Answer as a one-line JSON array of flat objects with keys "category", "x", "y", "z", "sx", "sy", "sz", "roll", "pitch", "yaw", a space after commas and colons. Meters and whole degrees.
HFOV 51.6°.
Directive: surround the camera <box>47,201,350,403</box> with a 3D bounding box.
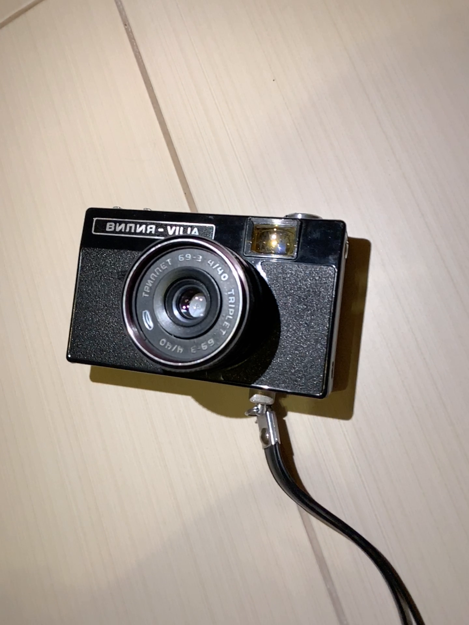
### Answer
[{"category": "camera", "x": -0.016, "y": -0.007, "z": 0.221, "sx": 0.124, "sy": 0.041, "sz": 0.073, "roll": 6, "pitch": 89, "yaw": 18}]
